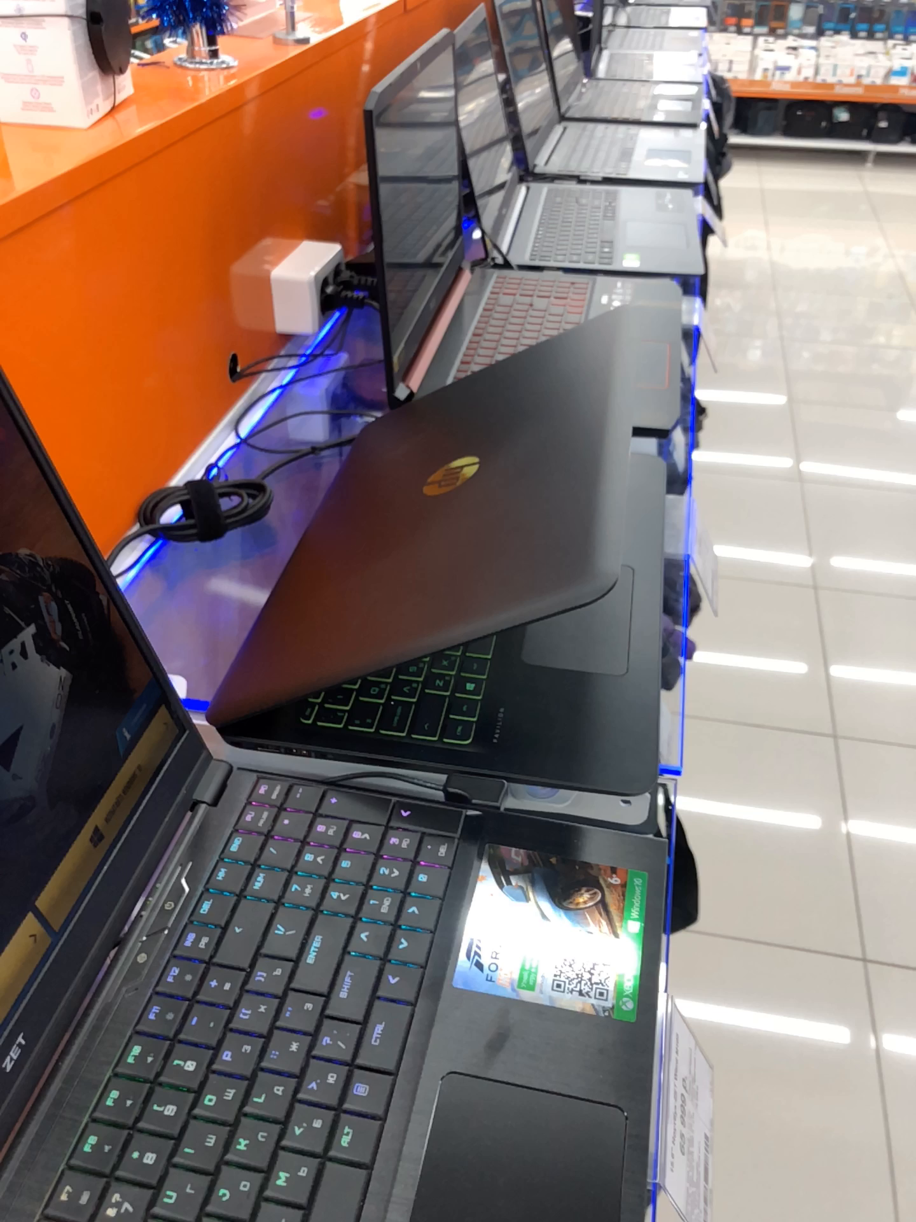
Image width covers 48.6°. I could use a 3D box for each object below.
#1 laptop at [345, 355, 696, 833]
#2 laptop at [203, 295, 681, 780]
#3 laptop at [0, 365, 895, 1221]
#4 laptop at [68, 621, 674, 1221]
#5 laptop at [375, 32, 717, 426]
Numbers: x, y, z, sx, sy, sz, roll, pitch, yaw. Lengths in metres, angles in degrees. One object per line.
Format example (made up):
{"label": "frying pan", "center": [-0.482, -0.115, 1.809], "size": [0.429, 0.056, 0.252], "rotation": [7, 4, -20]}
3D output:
{"label": "laptop", "center": [0.078, -0.041, 1.011], "size": [0.274, 0.255, 0.399], "rotation": [6, 38, 9]}
{"label": "laptop", "center": [0.022, -0.078, 0.668], "size": [0.227, 0.118, 0.371], "rotation": [8, 37, 7]}
{"label": "laptop", "center": [-0.076, 0.107, 0.322], "size": [0.303, 0.219, 0.342], "rotation": [8, 36, 8]}
{"label": "laptop", "center": [-0.009, 0.232, 0.667], "size": [0.262, 0.217, 0.413], "rotation": [7, 37, 8]}
{"label": "laptop", "center": [0.093, -0.390, 0.987], "size": [0.253, 0.245, 0.411], "rotation": [5, 36, 4]}
